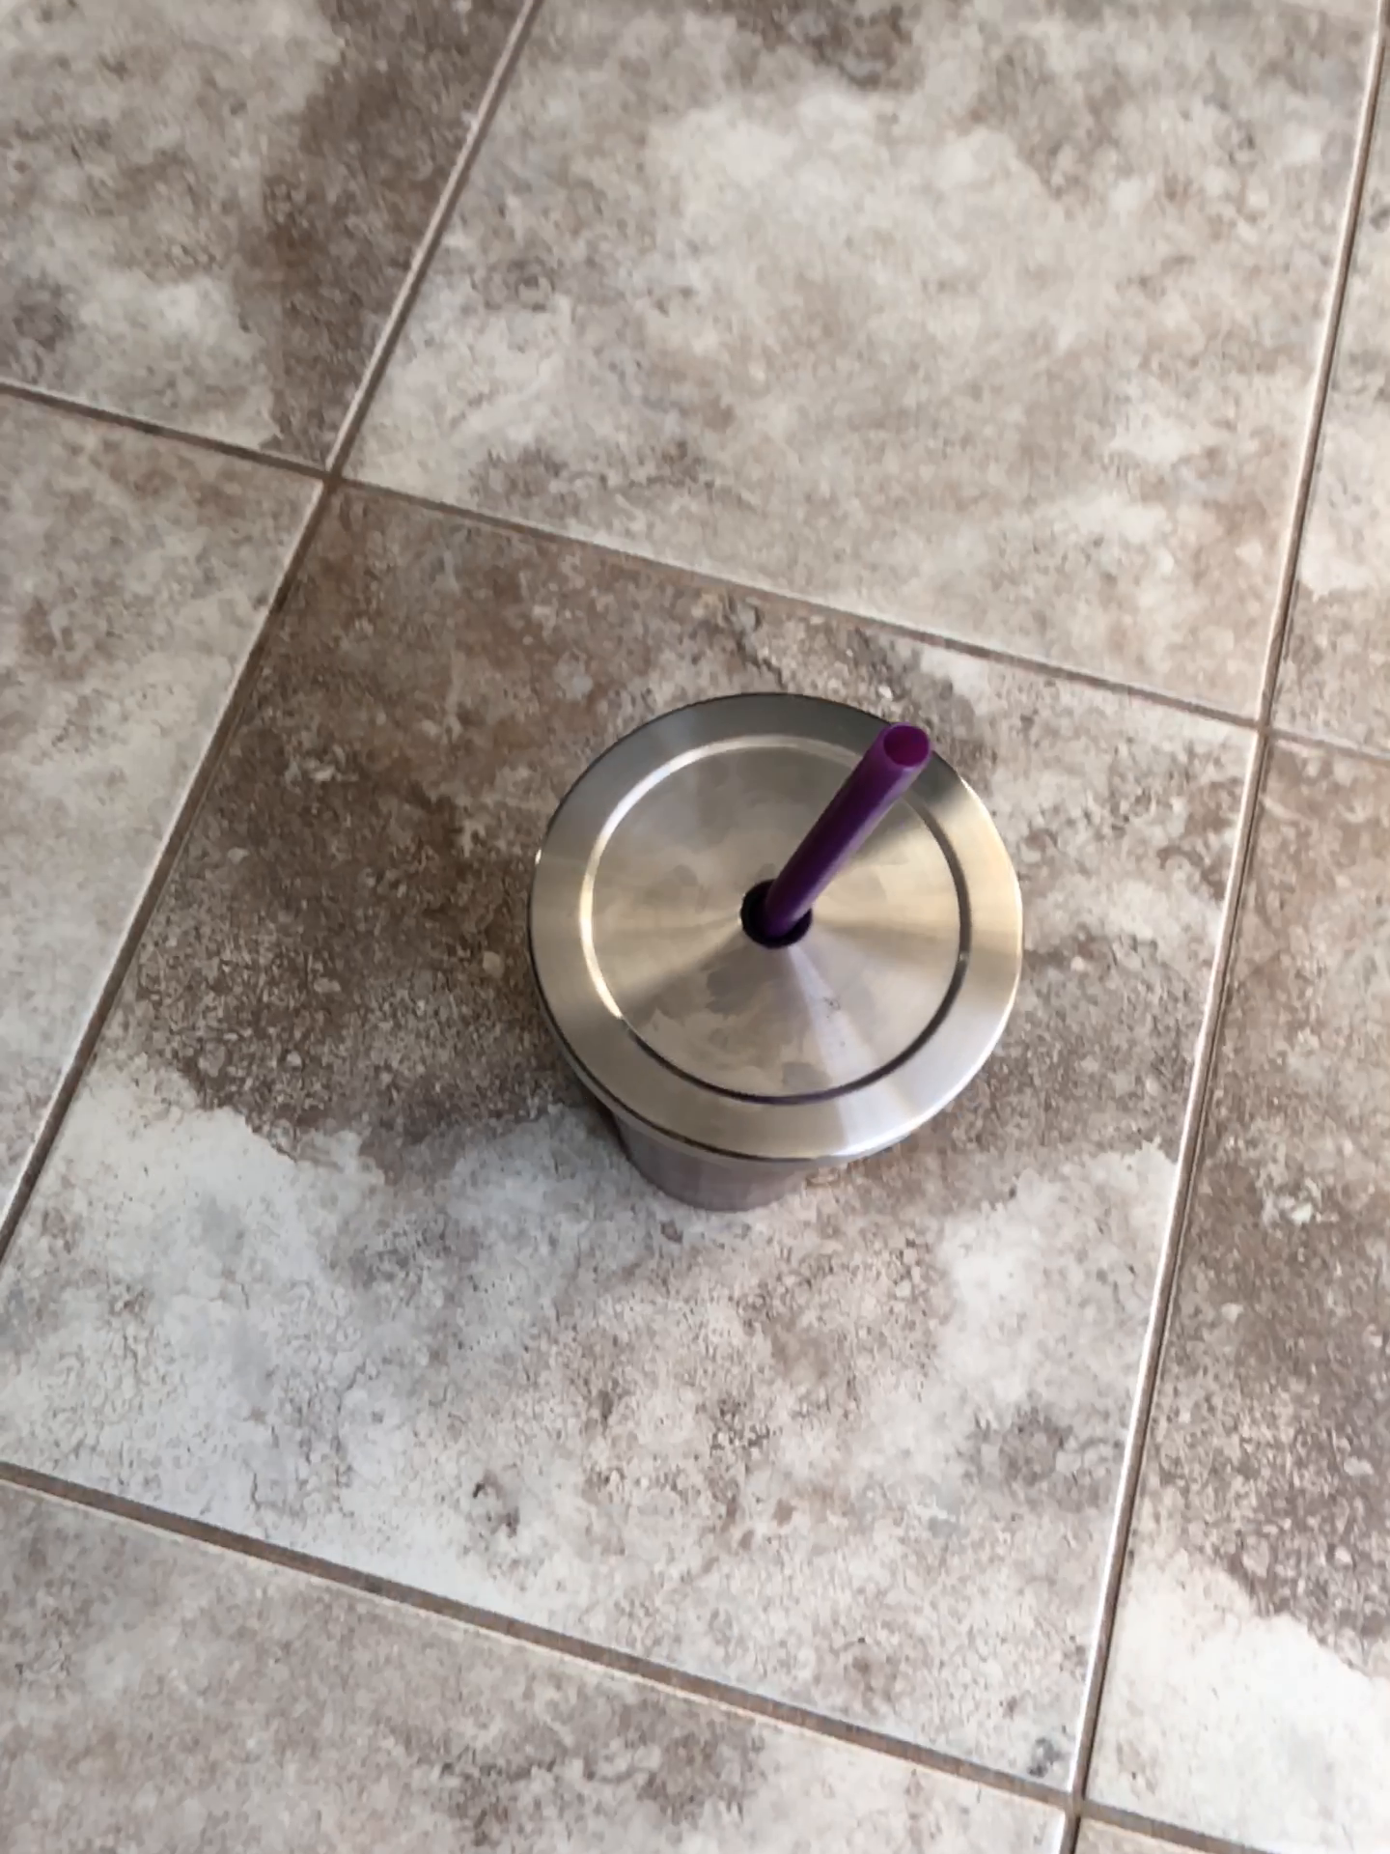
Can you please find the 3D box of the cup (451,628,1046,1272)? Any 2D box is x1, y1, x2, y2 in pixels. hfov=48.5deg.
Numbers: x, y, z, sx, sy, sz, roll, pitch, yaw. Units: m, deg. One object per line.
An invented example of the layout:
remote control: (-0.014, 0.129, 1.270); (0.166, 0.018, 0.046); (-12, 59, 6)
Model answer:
cup: (0.011, 0.018, 0.397); (0.111, 0.165, 0.102); (1, 70, -3)
